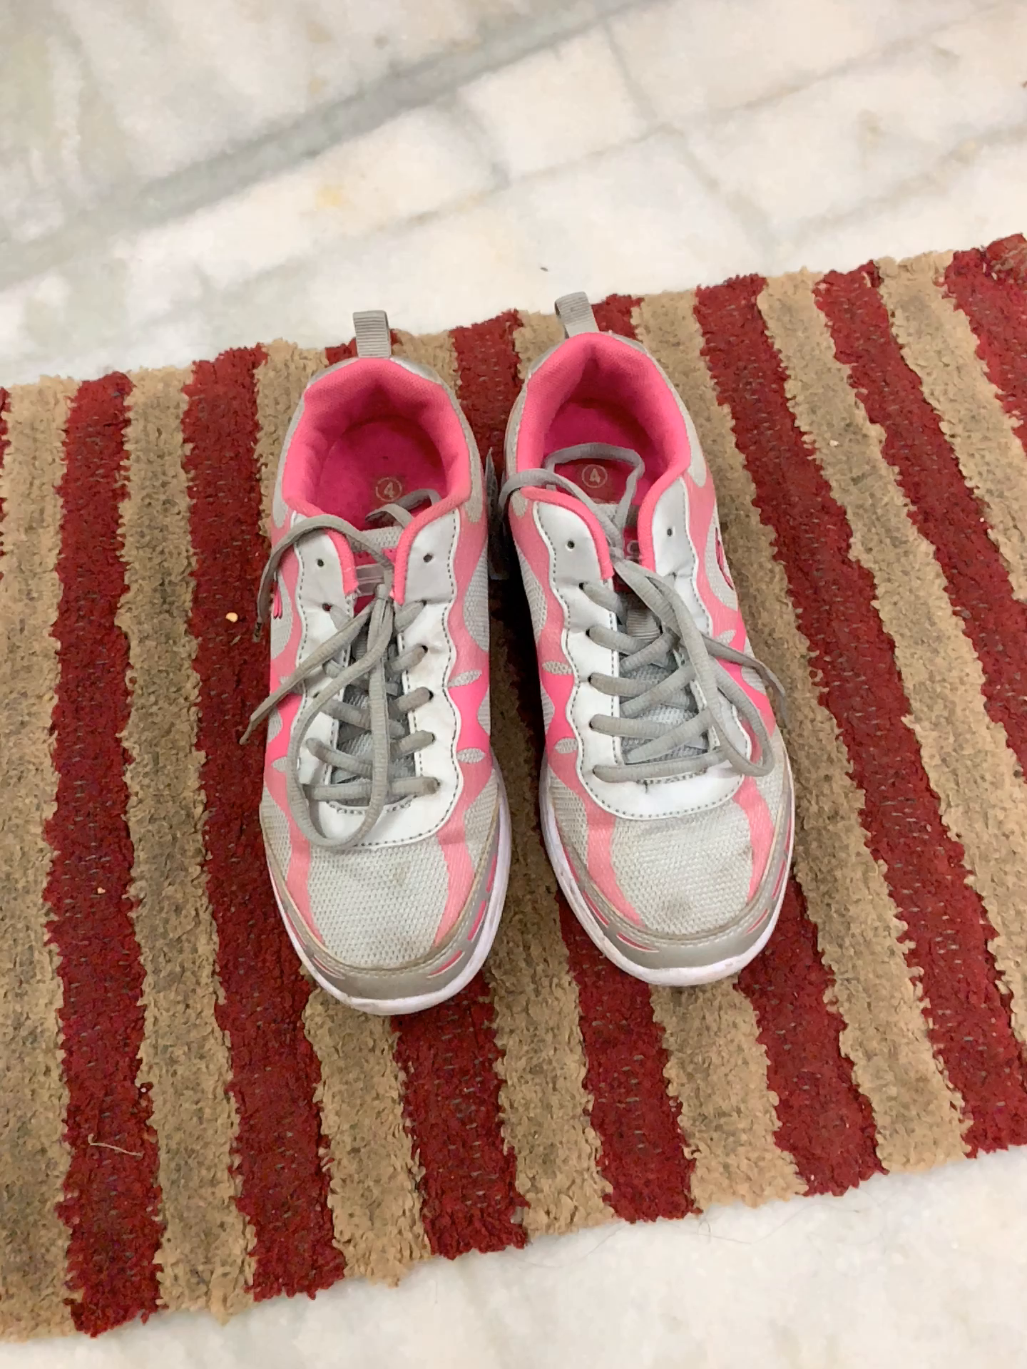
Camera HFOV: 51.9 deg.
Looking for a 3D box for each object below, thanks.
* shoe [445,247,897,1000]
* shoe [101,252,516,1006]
[{"bbox_3d":[0.040,-0.023,0.366,0.090,0.100,0.231,-9,65,-1],"label":"shoe"},{"bbox_3d":[-0.056,-0.020,0.357,0.100,0.100,0.231,-3,65,1],"label":"shoe"}]
